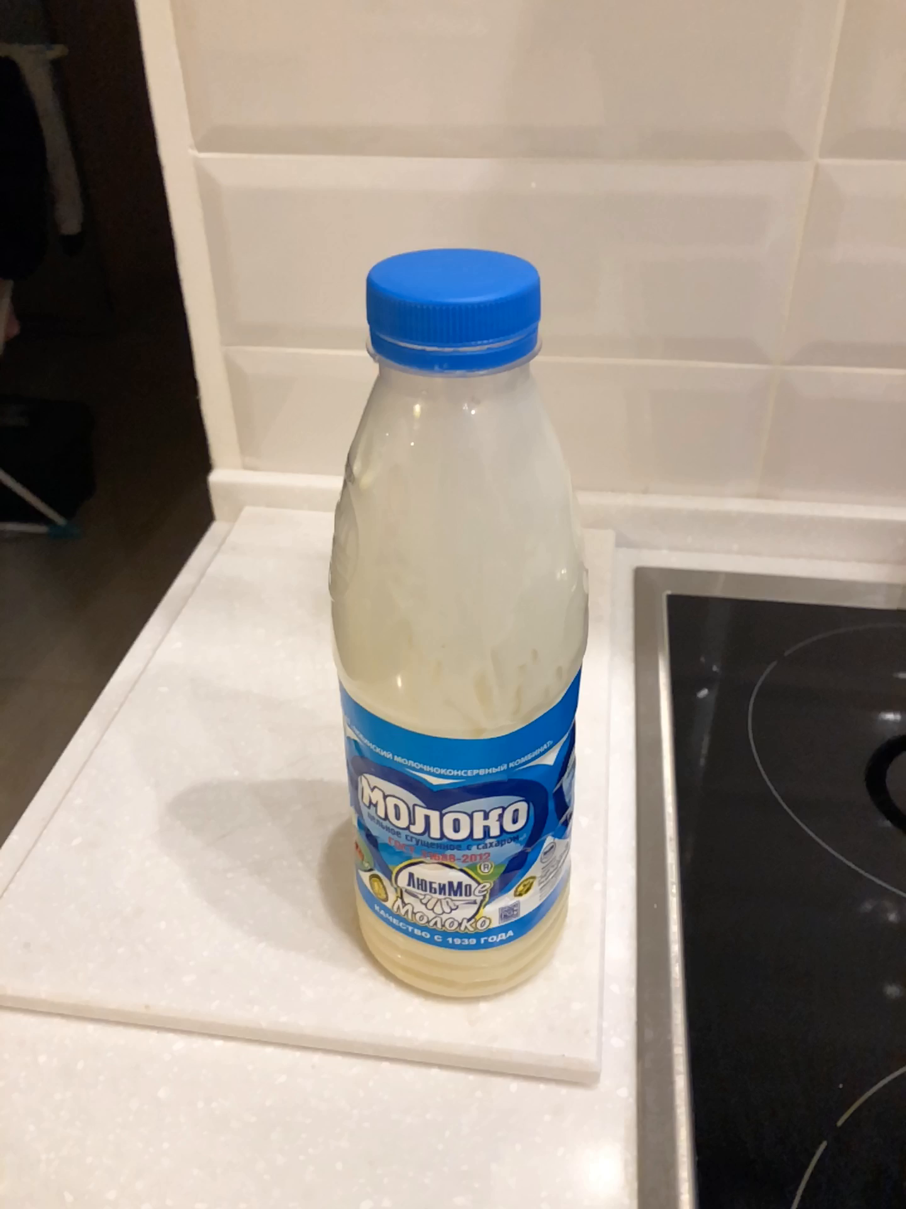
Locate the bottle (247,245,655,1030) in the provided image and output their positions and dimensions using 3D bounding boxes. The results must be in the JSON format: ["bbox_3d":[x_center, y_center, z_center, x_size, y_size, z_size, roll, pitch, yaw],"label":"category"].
[{"bbox_3d":[0.006,0.019,0.287,0.080,0.213,0.081,-1,35,0],"label":"bottle"}]
